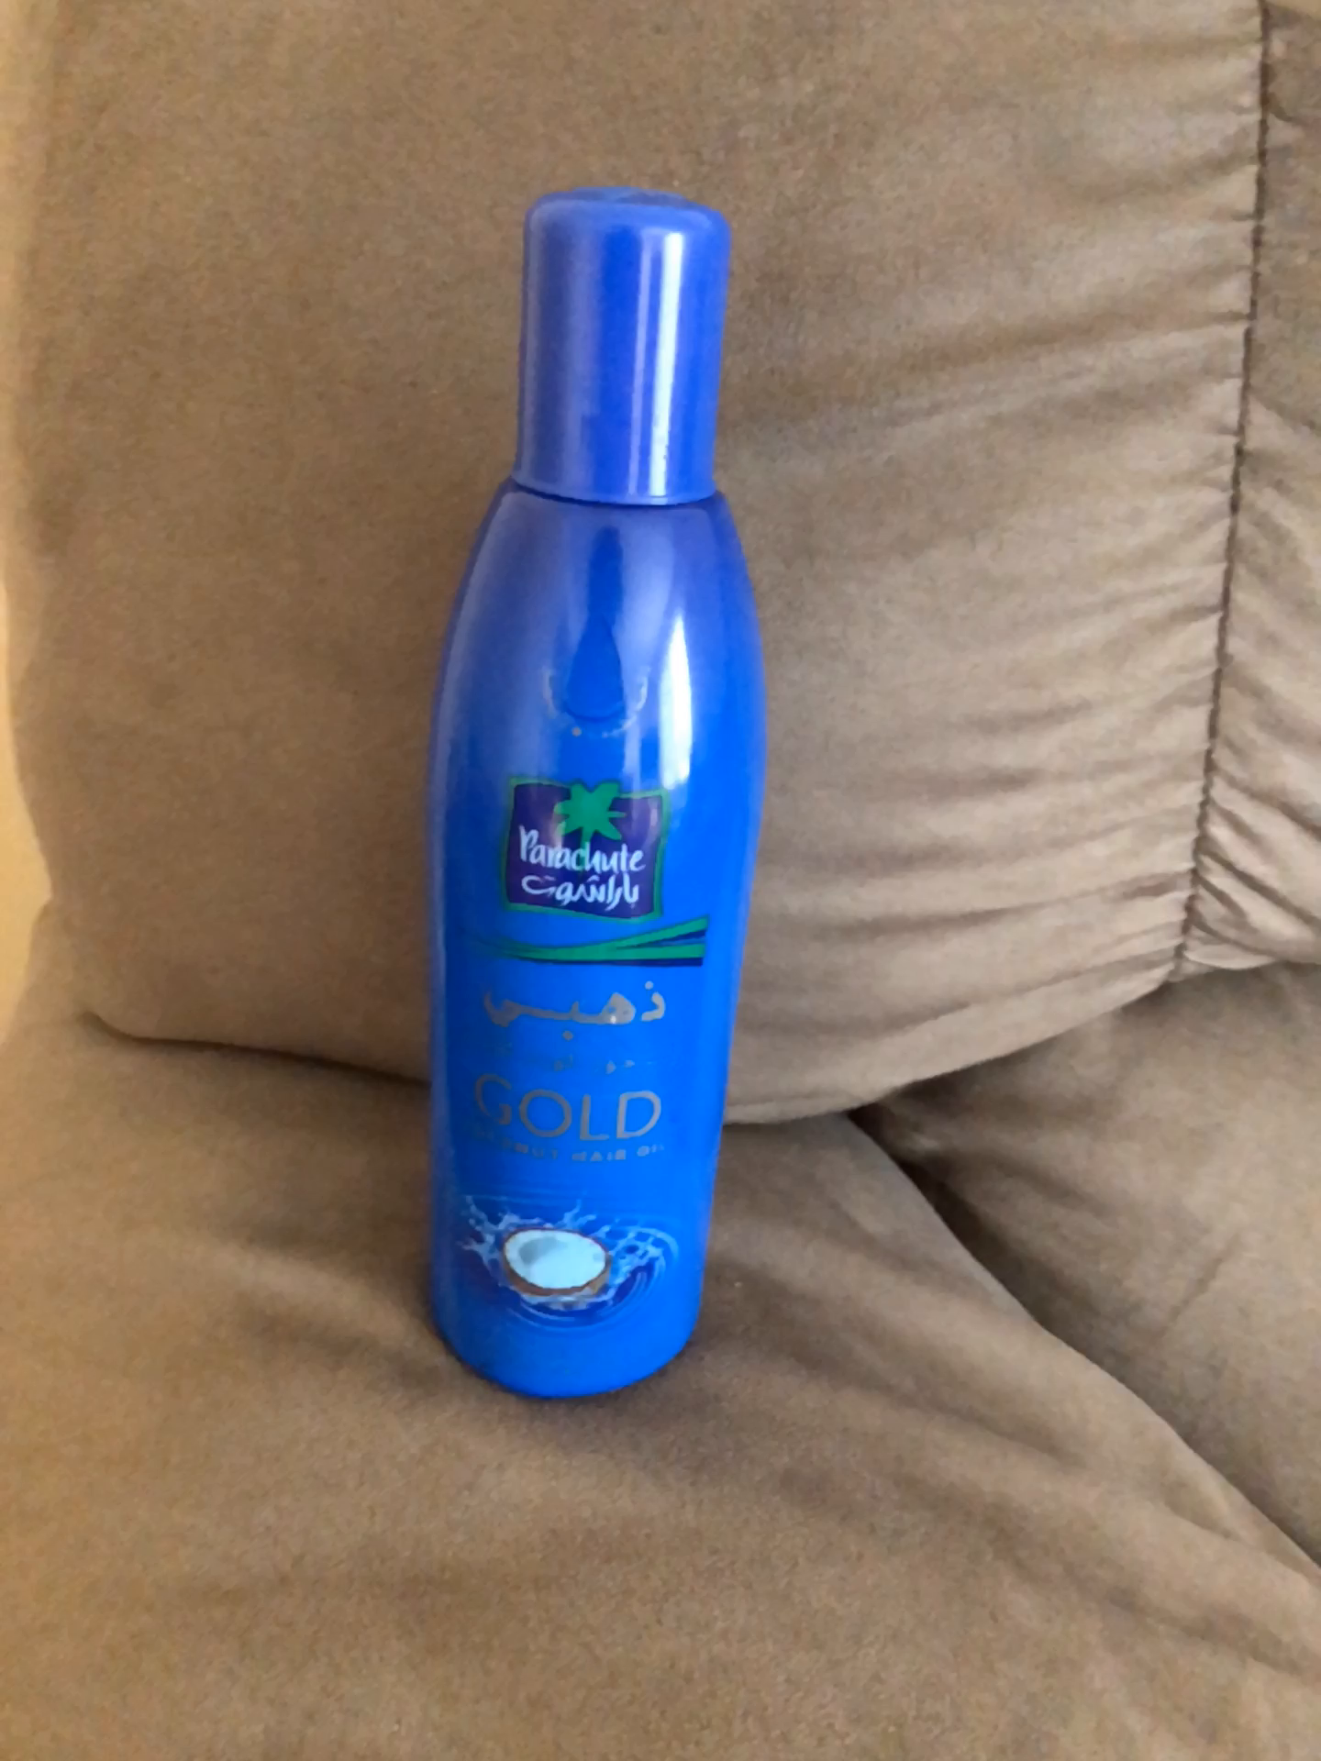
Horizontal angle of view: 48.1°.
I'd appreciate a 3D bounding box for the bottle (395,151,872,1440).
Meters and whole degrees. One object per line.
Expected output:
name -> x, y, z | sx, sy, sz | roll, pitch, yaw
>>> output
bottle -> -0.010, -0.005, 0.218 | 0.050, 0.180, 0.050 | 4, 25, -2
